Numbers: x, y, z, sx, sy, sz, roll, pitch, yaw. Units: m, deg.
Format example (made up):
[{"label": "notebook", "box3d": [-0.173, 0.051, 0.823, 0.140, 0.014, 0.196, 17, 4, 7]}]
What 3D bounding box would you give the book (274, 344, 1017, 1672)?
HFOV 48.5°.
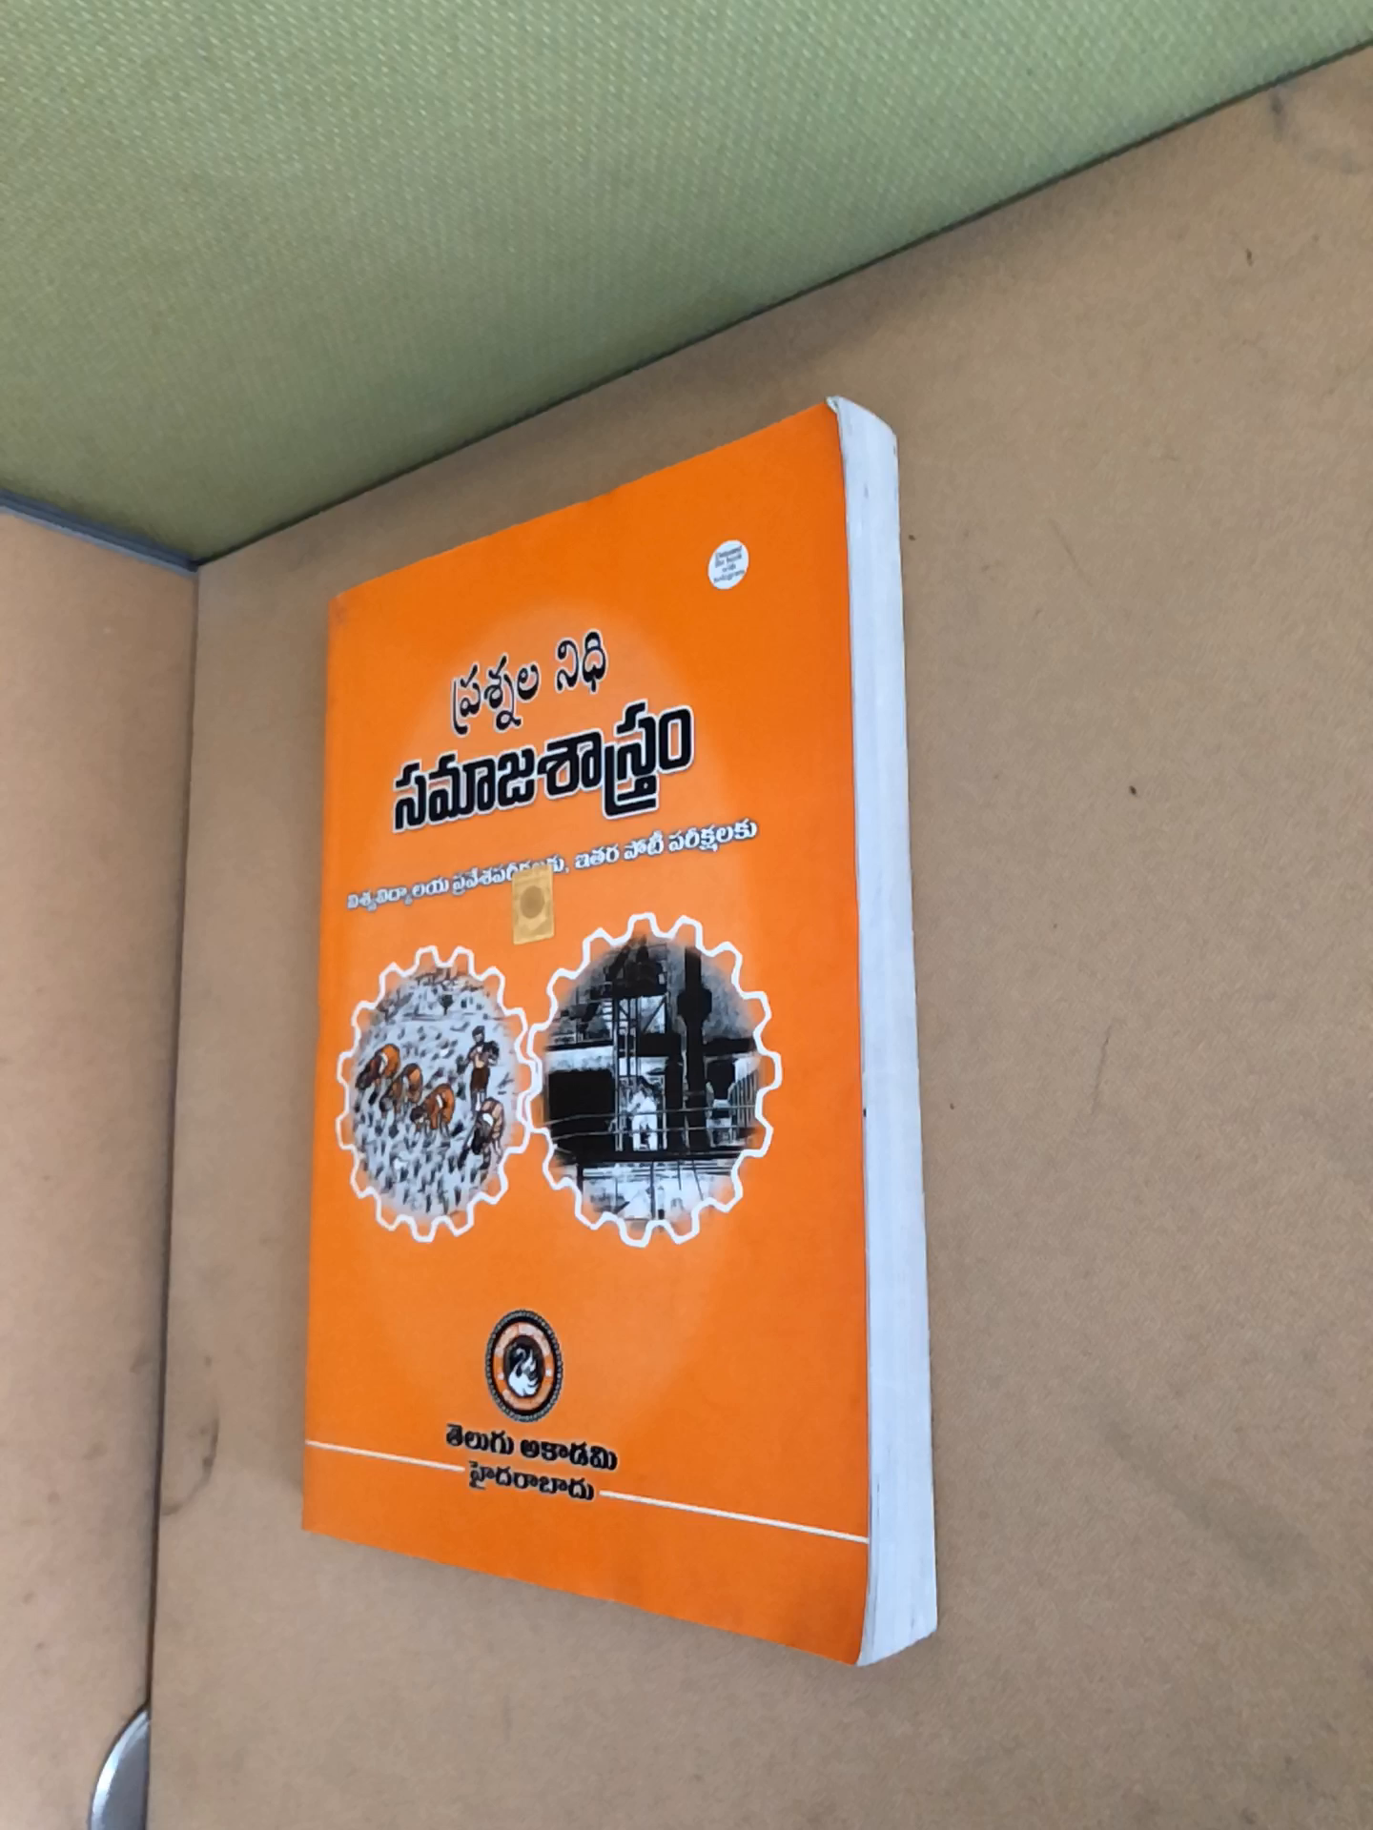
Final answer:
[{"label": "book", "box3d": [-0.023, 0.024, 0.417, 0.211, 0.050, 0.290, -8, 77, 39]}]
